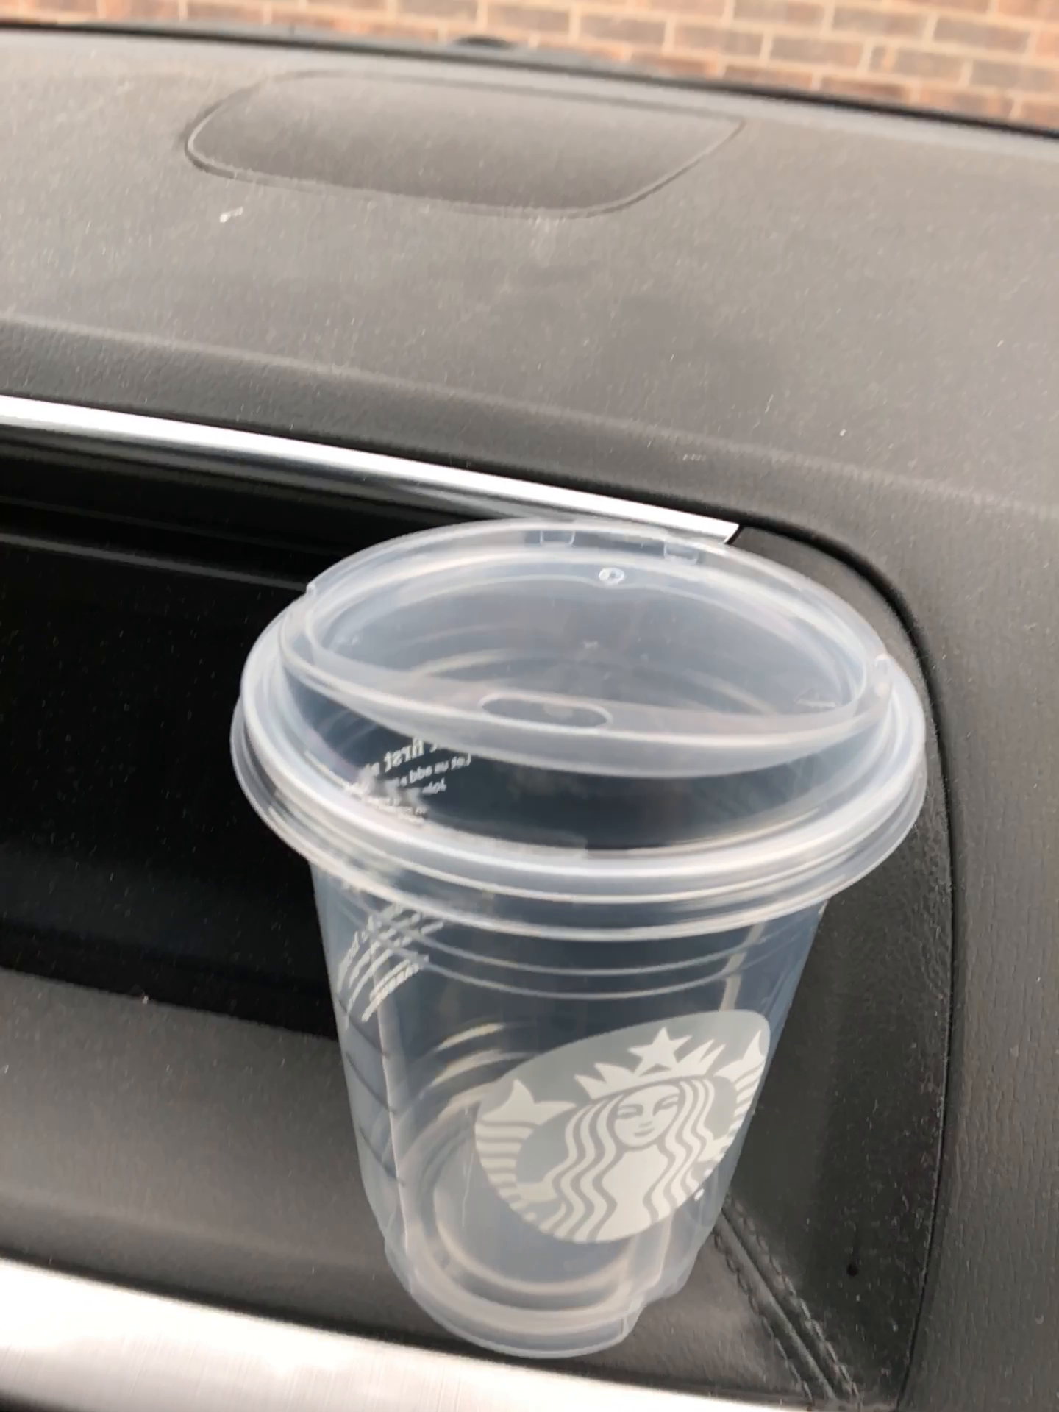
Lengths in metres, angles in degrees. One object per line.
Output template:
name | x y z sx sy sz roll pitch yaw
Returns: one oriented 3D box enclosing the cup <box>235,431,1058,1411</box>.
cup | 0.007 0.035 0.178 0.088 0.125 0.082 4 36 -3
